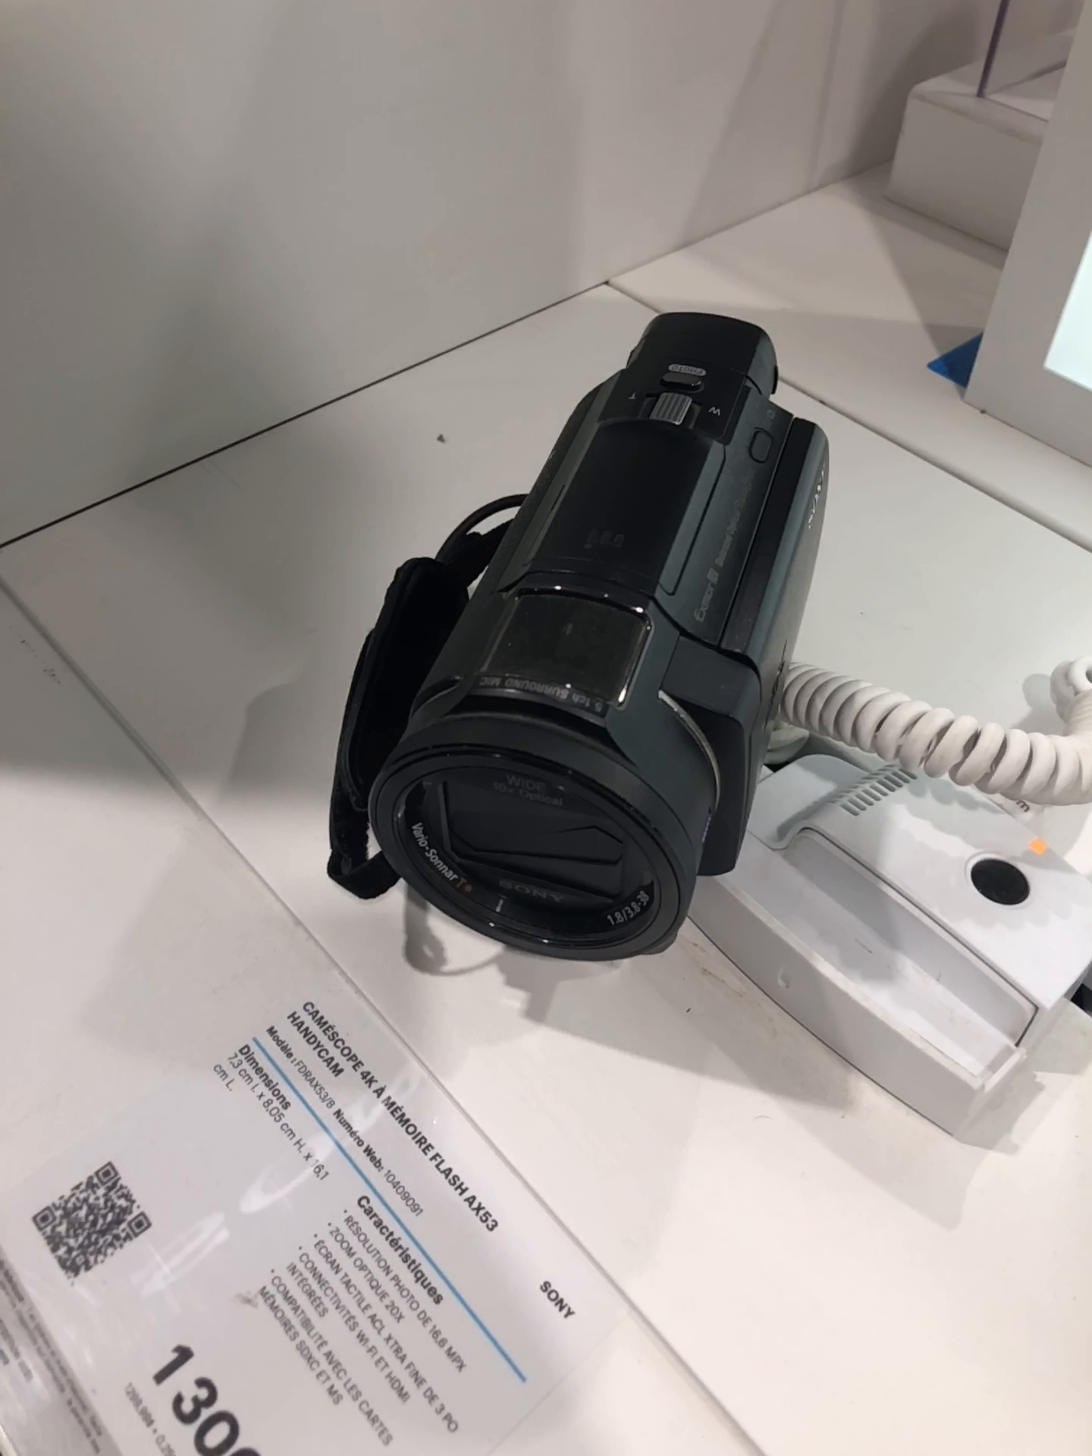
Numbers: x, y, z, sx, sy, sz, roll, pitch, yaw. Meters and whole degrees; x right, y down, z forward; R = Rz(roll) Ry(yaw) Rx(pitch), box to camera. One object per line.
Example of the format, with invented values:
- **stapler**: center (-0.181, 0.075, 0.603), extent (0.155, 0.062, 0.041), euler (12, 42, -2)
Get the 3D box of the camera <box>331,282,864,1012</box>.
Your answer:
- **camera**: center (0.019, -0.027, 0.271), extent (0.073, 0.070, 0.149), euler (13, 47, 10)
